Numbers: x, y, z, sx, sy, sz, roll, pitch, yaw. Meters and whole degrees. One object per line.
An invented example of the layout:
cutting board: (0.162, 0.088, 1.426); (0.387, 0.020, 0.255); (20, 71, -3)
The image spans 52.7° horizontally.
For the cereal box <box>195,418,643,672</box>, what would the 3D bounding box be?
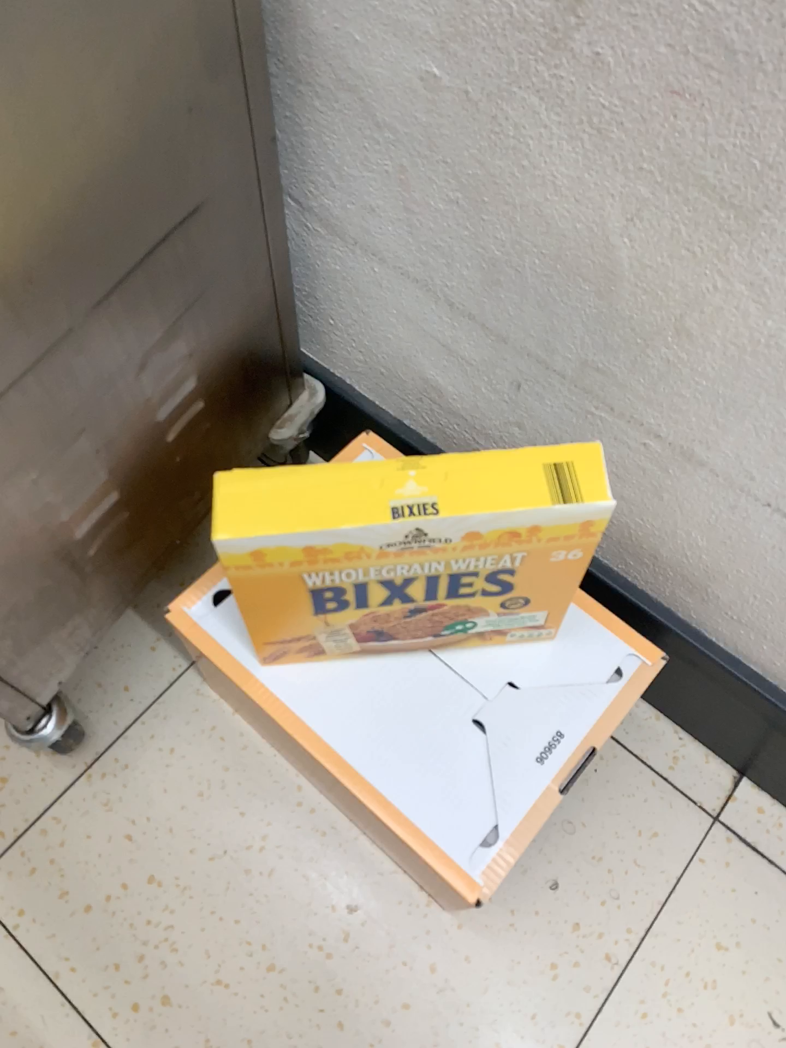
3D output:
cereal box: (0.012, 0.033, 0.649); (0.290, 0.278, 0.070); (-5, 63, -4)
